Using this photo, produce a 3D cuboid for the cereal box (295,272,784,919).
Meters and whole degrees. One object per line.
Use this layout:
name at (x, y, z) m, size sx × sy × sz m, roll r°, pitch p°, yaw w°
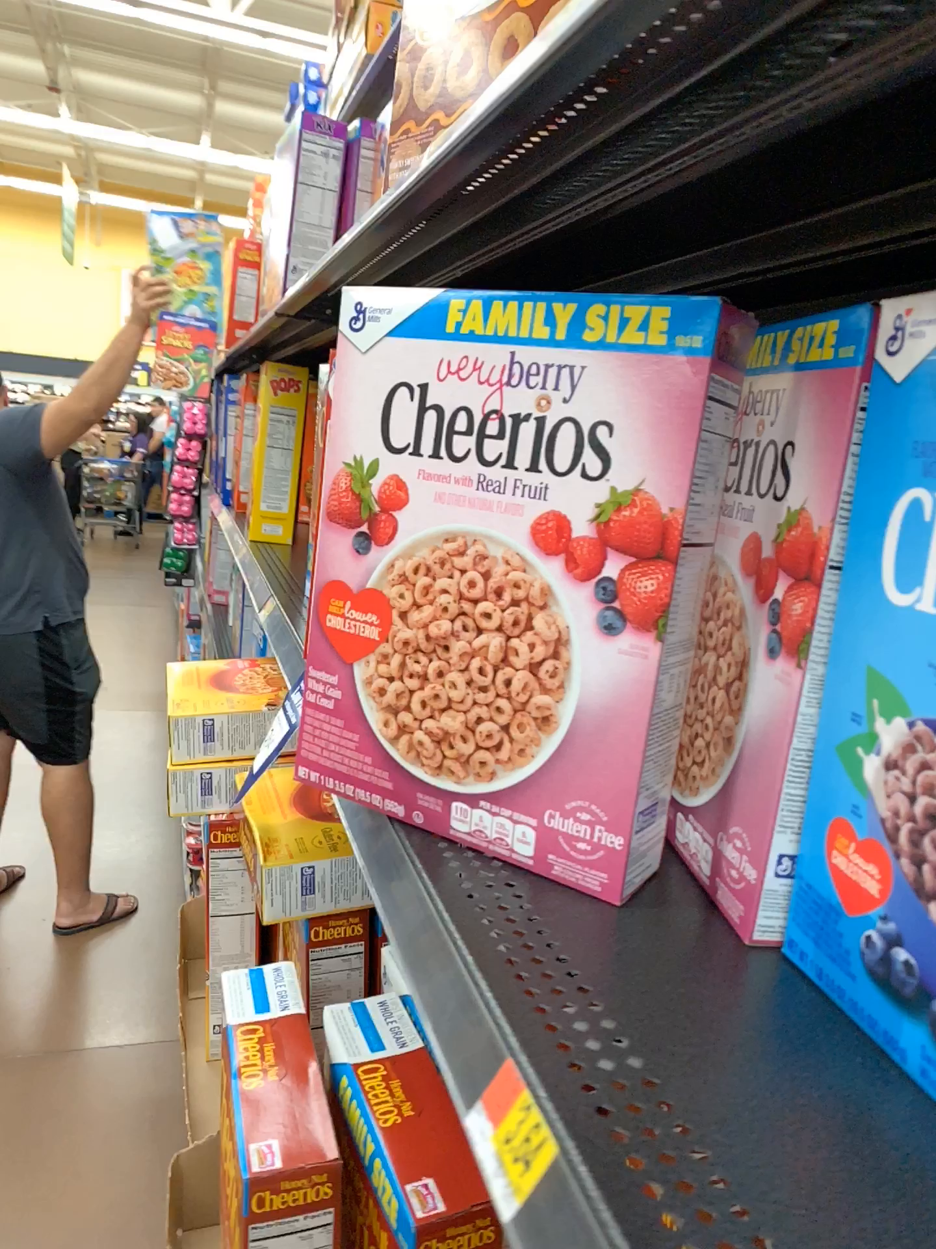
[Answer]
cereal box at (0.026, -0.031, 0.555) m, size 0.240 × 0.319 × 0.060 m, roll 13°, pitch 10°, yaw 31°
